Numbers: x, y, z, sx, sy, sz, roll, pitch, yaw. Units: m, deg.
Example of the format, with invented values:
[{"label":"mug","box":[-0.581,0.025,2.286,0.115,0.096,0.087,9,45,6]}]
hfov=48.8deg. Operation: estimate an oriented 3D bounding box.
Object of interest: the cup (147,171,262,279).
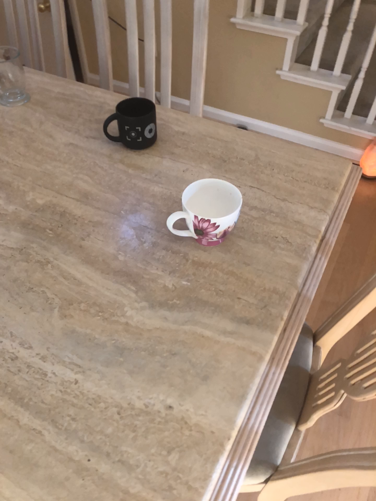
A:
[{"label":"cup","box":[0.028,-0.049,0.735,0.161,0.089,0.110,-28,55,-23]}]

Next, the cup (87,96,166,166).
[{"label":"cup","box":[-0.141,-0.279,0.962,0.150,0.089,0.101,-17,51,-15]}]
